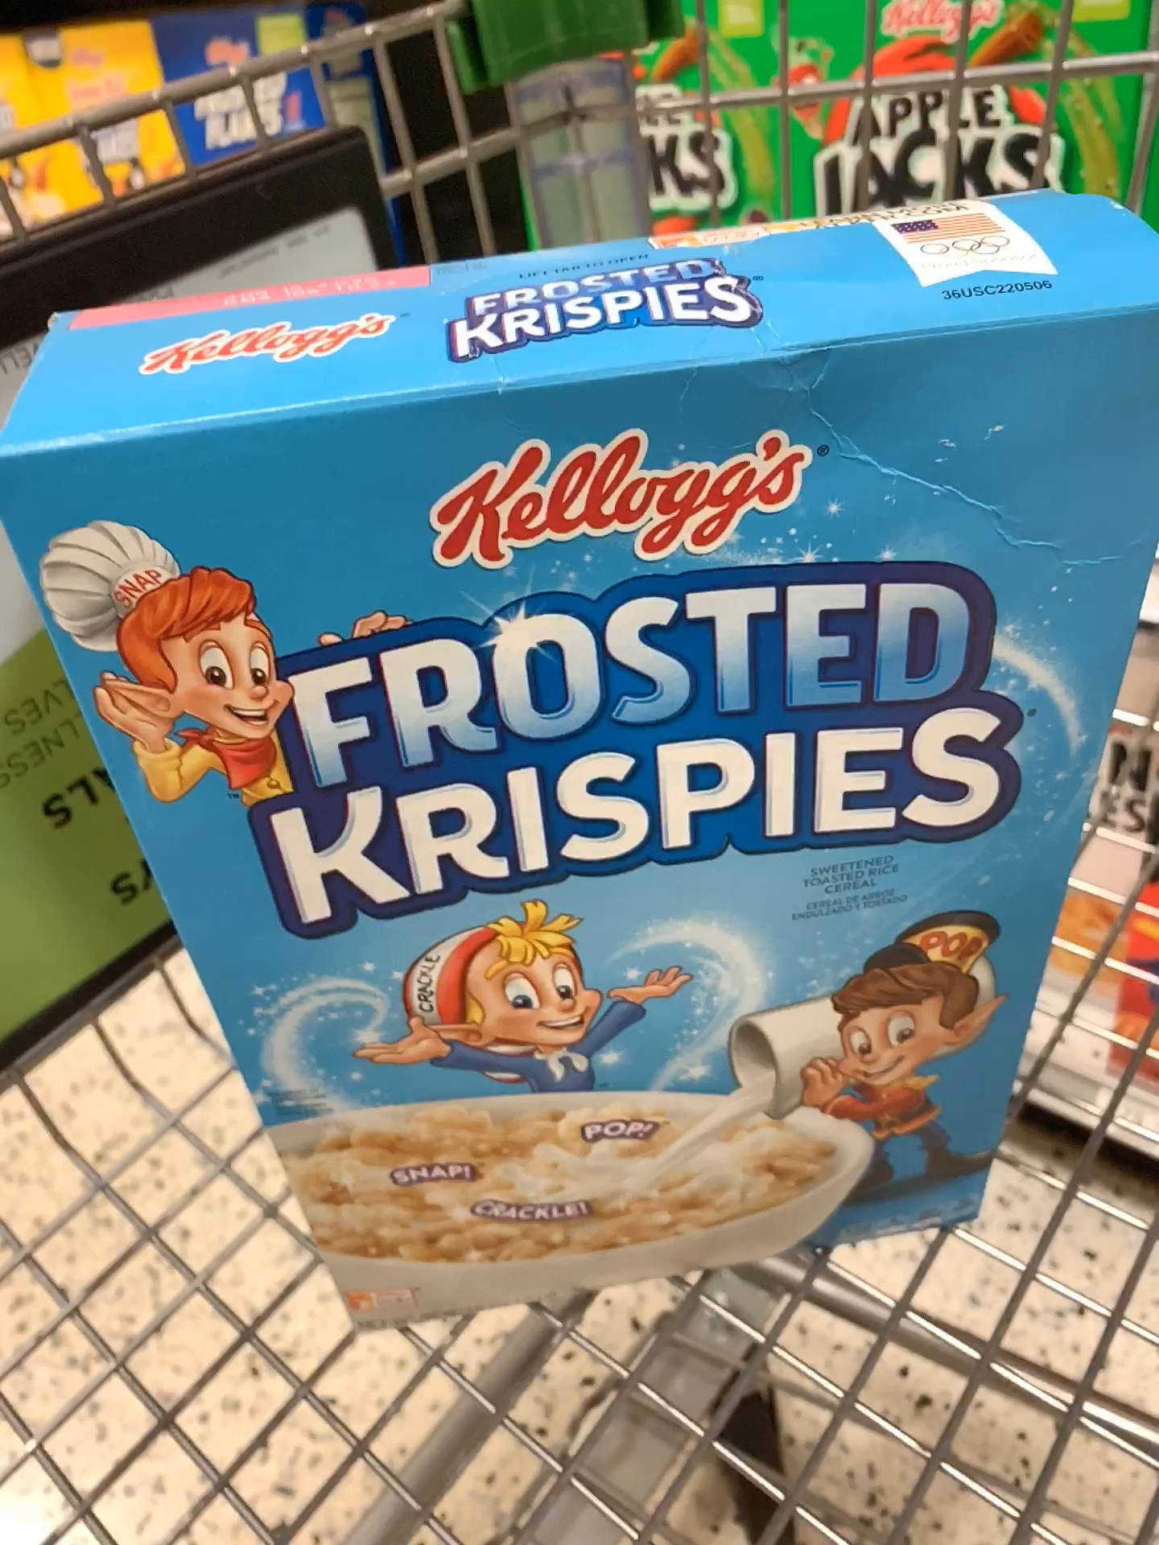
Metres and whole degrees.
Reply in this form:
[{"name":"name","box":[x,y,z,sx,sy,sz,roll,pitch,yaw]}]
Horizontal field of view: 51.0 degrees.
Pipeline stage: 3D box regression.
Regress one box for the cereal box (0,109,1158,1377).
[{"name":"cereal box","box":[0.018,0.037,0.292,0.200,0.316,0.061,-8,42,0]}]
